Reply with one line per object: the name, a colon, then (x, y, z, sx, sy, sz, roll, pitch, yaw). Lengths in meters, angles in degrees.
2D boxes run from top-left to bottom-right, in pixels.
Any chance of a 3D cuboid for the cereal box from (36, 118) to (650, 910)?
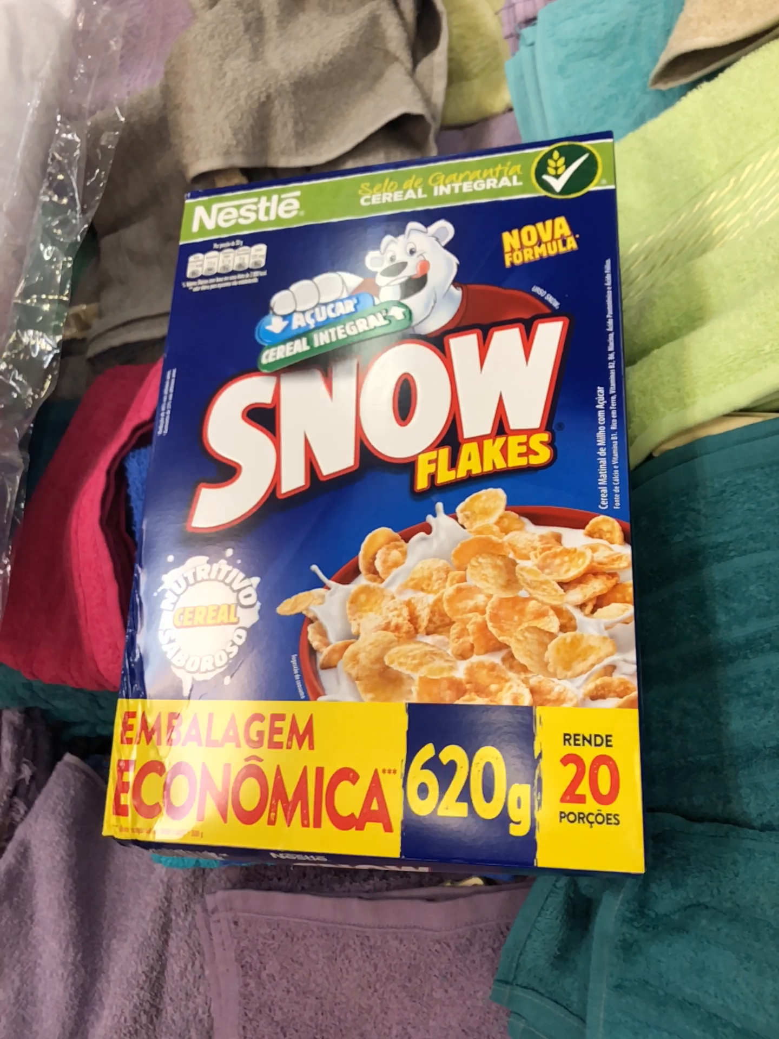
cereal box: (-0.009, -0.009, 0.373, 0.220, 0.070, 0.301, -2, 70, 17)
